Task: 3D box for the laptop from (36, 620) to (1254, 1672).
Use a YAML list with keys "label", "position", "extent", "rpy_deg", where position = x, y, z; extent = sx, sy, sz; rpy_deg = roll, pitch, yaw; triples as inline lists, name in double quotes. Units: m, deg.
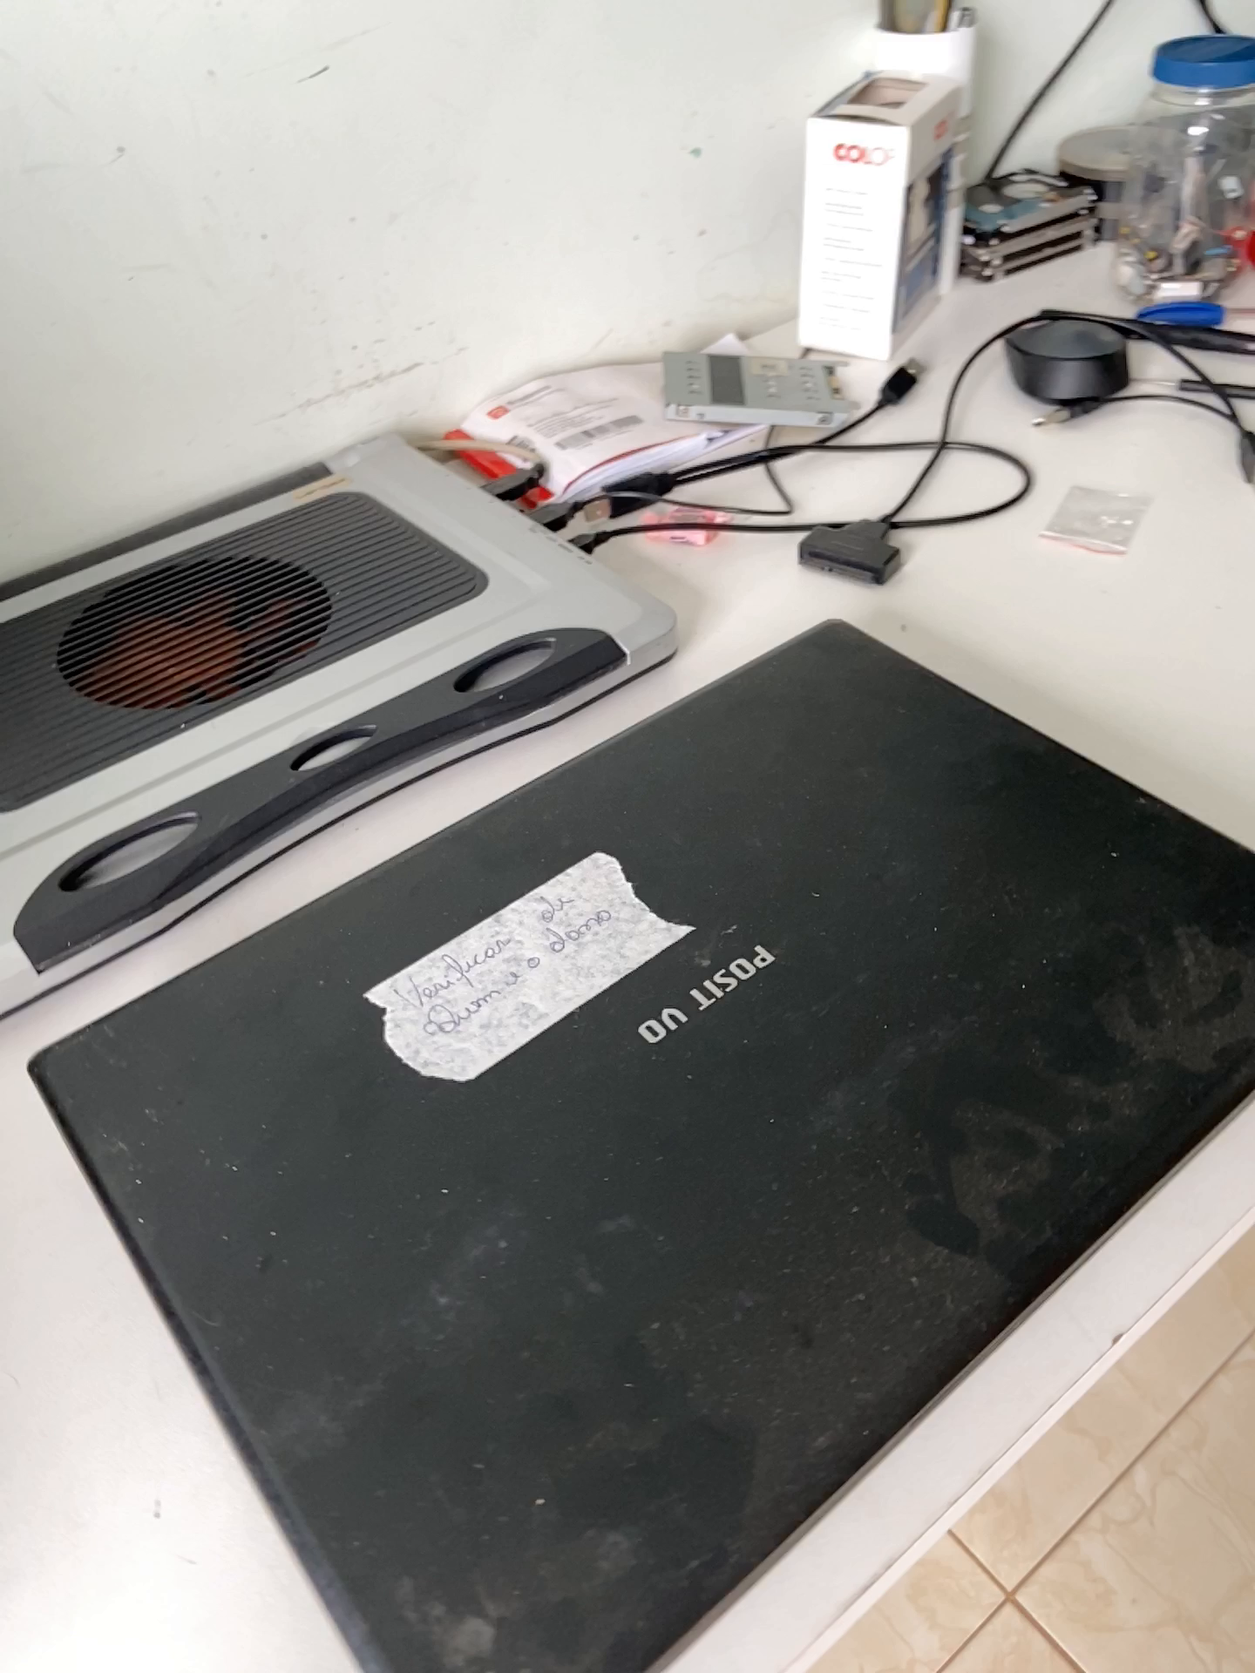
- label: "laptop"
  position: [0.026, 0.053, 0.384]
  extent: [0.329, 0.008, 0.234]
  rpy_deg: [-31, 49, -25]
